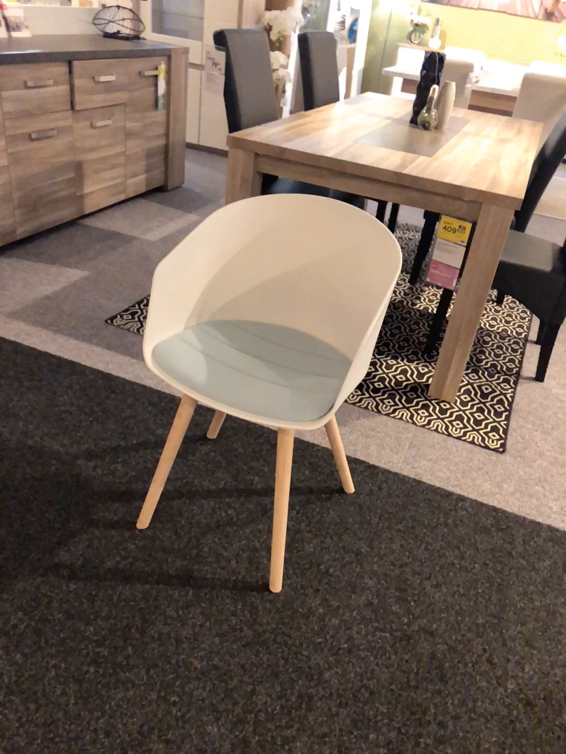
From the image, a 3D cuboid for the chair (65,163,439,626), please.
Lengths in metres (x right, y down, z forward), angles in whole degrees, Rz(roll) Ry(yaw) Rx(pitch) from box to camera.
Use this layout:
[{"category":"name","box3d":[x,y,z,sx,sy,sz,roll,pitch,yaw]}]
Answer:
[{"category":"chair","box3d":[-0.062,-0.005,1.444,0.549,0.765,0.584,19,33,18]}]
